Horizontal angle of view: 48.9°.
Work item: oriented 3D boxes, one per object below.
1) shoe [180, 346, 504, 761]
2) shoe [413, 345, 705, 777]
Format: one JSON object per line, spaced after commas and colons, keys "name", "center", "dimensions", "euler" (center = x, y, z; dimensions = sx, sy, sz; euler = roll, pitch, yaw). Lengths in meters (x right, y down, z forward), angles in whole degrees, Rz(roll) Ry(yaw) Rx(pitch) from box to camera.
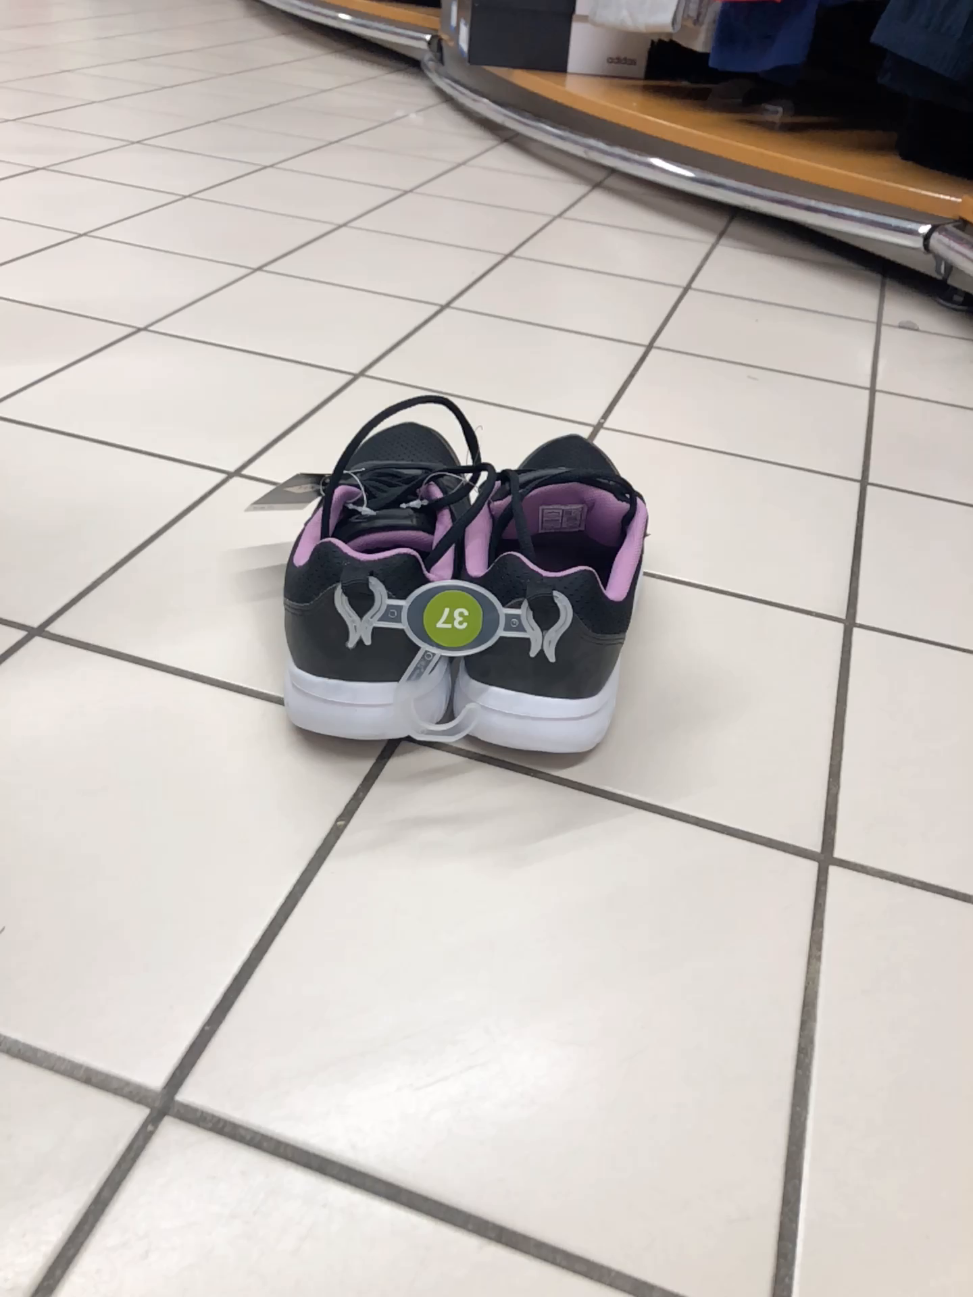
{"name": "shoe", "center": [-0.056, -0.065, 0.550], "dimensions": [0.110, 0.089, 0.262], "euler": [3, 35, 3]}
{"name": "shoe", "center": [0.036, -0.061, 0.544], "dimensions": [0.110, 0.089, 0.262], "euler": [6, 35, 1]}
